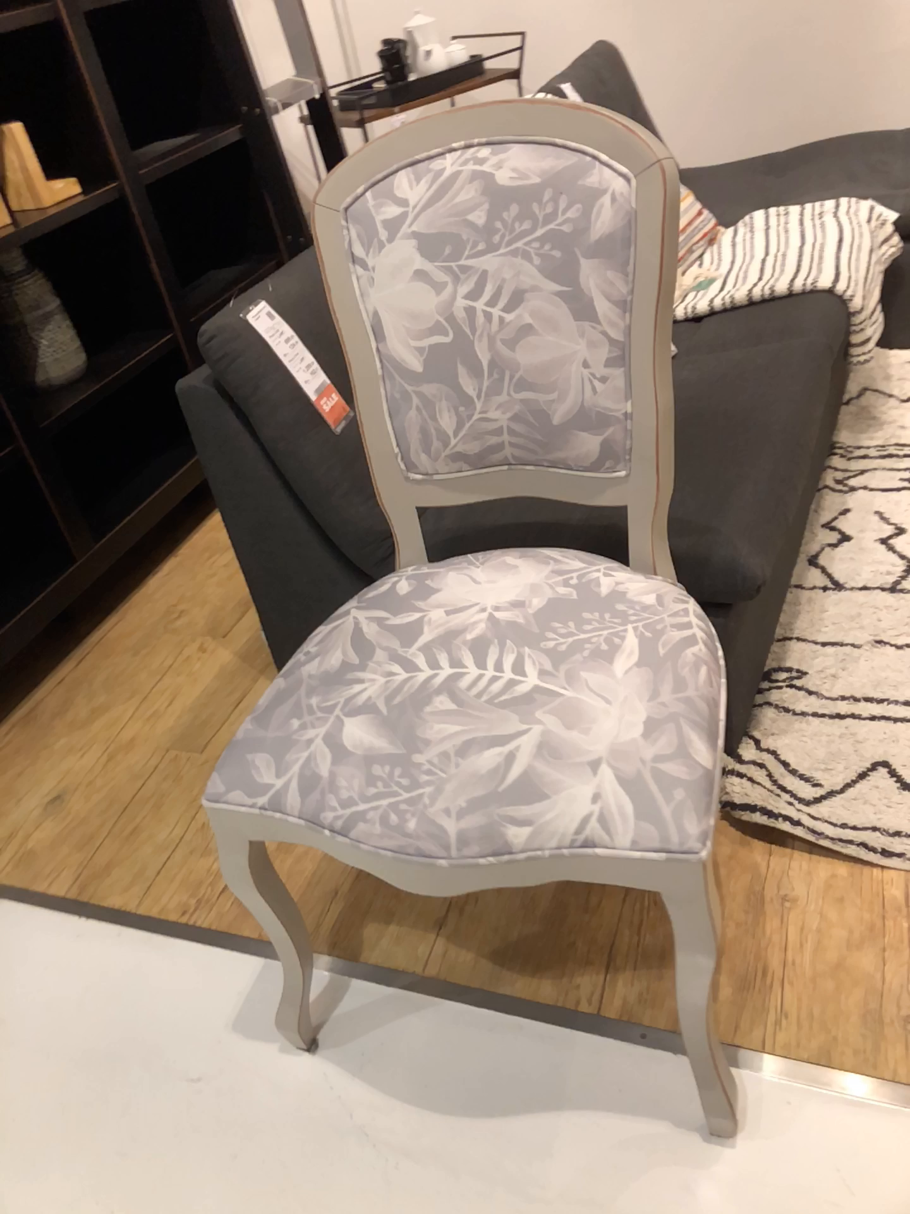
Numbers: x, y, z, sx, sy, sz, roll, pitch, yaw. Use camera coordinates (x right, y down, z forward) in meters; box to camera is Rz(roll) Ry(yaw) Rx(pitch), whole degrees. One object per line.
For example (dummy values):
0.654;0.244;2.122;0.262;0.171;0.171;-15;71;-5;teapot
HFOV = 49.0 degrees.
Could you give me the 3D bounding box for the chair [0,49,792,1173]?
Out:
0.036;0.023;1.069;0.571;0.942;0.534;3;36;23;chair
